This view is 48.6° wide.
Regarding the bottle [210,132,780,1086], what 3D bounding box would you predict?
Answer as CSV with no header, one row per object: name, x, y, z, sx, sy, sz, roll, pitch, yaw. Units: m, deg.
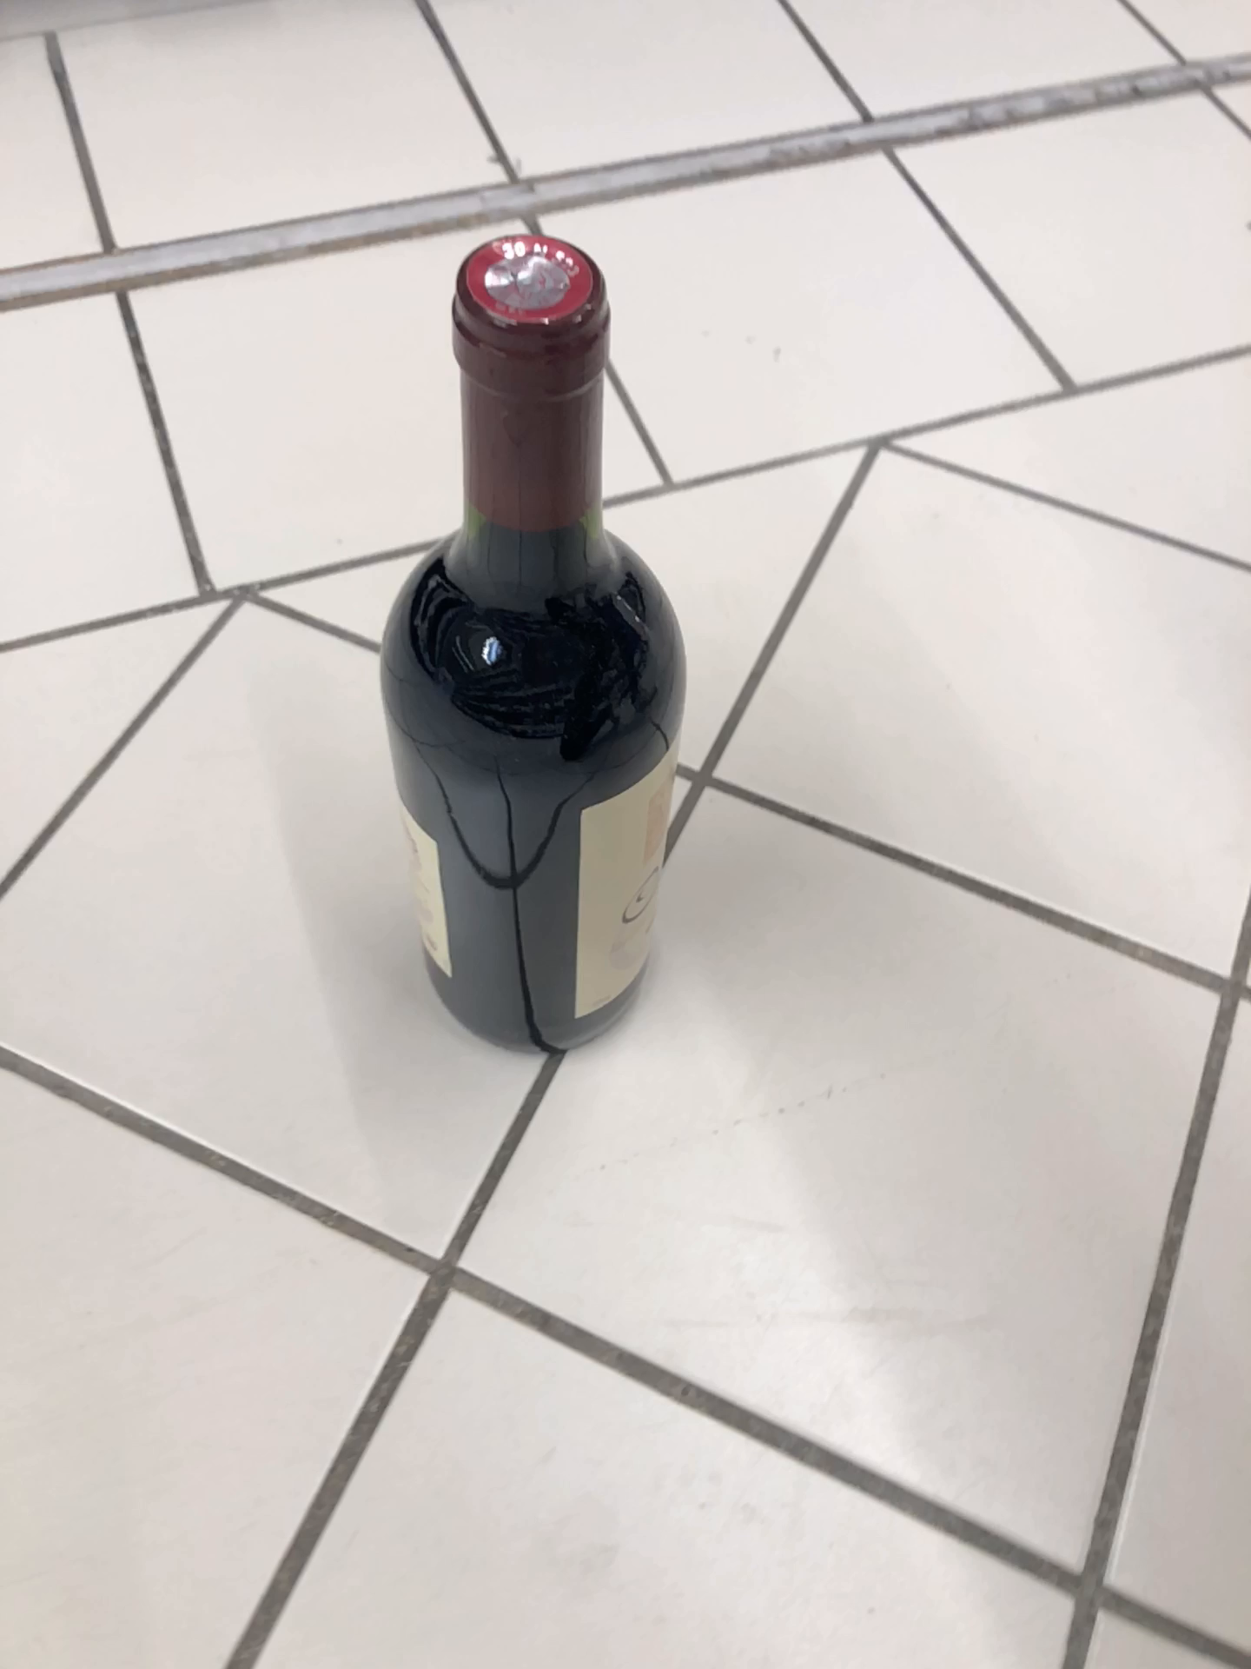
bottle,-0.023,-0.028,0.348,0.090,0.249,0.090,1,58,-2
